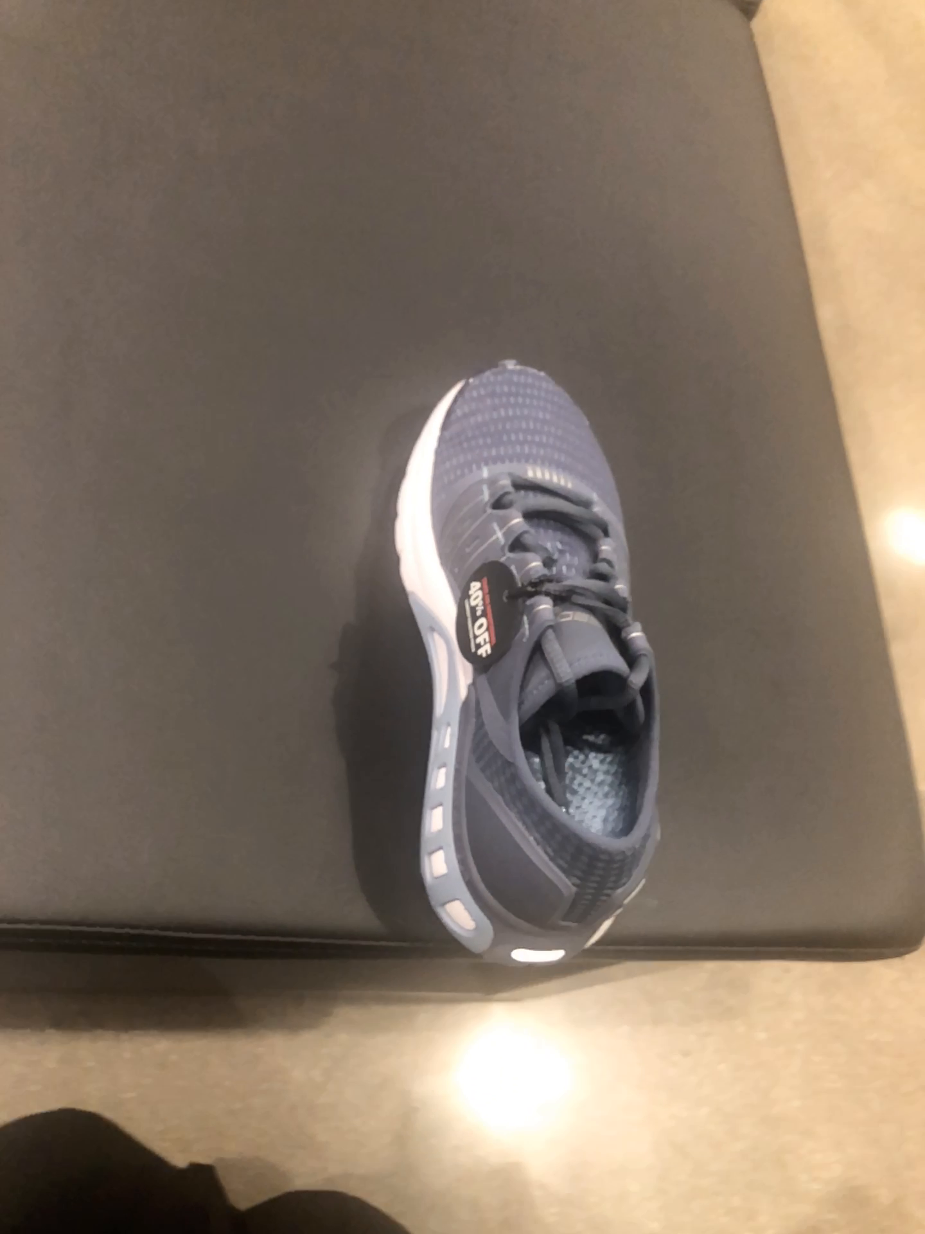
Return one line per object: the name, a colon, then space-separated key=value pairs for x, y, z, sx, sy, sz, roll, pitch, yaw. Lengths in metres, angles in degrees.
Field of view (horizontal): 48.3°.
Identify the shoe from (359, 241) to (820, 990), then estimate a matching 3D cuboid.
shoe: x=0.036 y=0.001 z=0.394 sx=0.120 sy=0.097 sz=0.255 roll=9 pitch=63 yaw=-18
